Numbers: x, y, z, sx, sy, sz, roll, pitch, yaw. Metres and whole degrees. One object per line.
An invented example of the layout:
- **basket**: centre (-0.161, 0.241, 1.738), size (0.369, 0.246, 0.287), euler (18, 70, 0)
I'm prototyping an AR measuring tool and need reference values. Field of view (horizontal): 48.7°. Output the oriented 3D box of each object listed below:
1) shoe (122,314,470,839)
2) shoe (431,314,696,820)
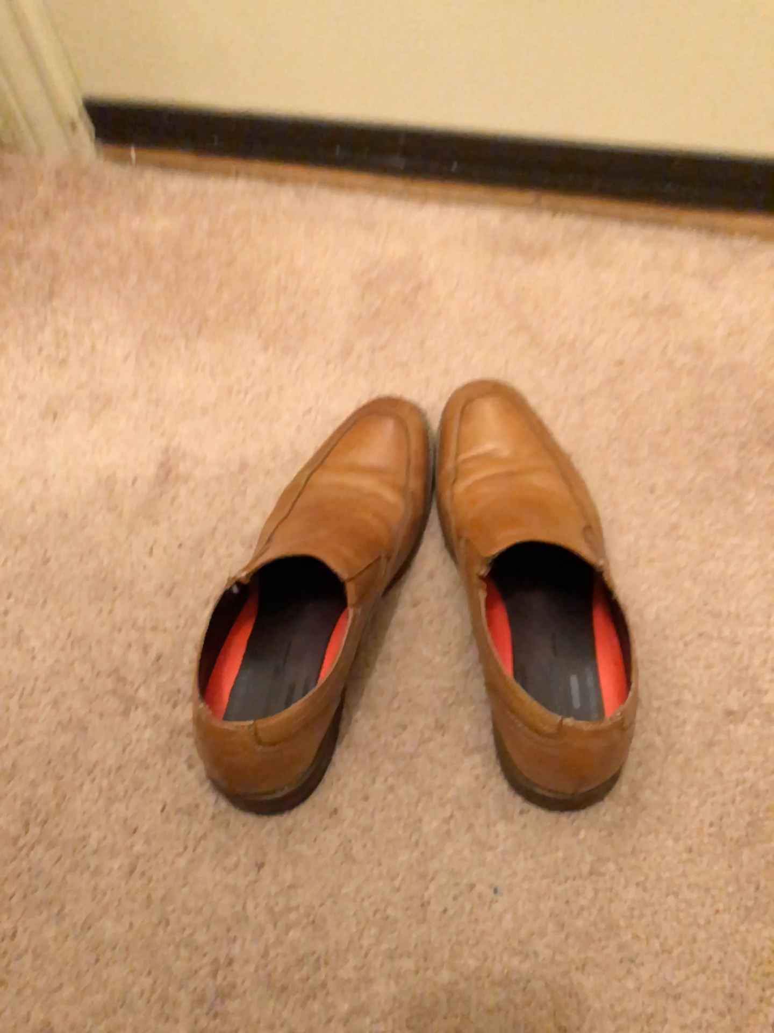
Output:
- **shoe**: centre (-0.035, 0.019, 0.542), size (0.100, 0.090, 0.321), euler (12, 56, 13)
- **shoe**: centre (0.092, 0.016, 0.536), size (0.107, 0.089, 0.311), euler (-4, 53, 3)
